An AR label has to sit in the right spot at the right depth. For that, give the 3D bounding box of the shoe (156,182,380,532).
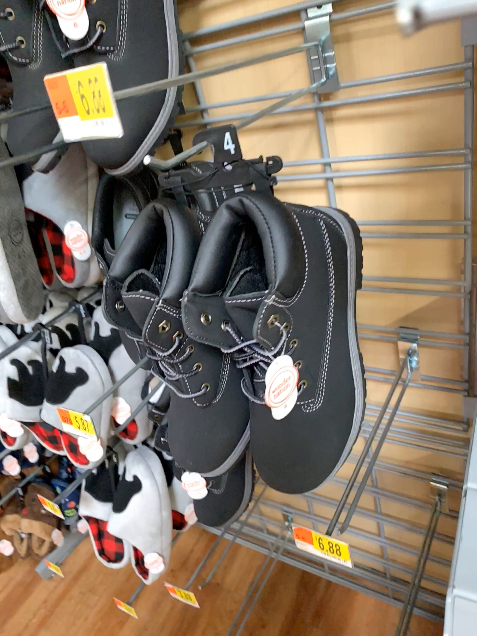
[{"bbox_3d":[0.029,0.013,0.353,0.100,0.205,0.120,8,20,33],"label":"shoe"}]

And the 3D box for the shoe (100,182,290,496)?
[{"bbox_3d":[-0.027,0.007,0.419,0.100,0.229,0.109,9,21,32],"label":"shoe"}]
